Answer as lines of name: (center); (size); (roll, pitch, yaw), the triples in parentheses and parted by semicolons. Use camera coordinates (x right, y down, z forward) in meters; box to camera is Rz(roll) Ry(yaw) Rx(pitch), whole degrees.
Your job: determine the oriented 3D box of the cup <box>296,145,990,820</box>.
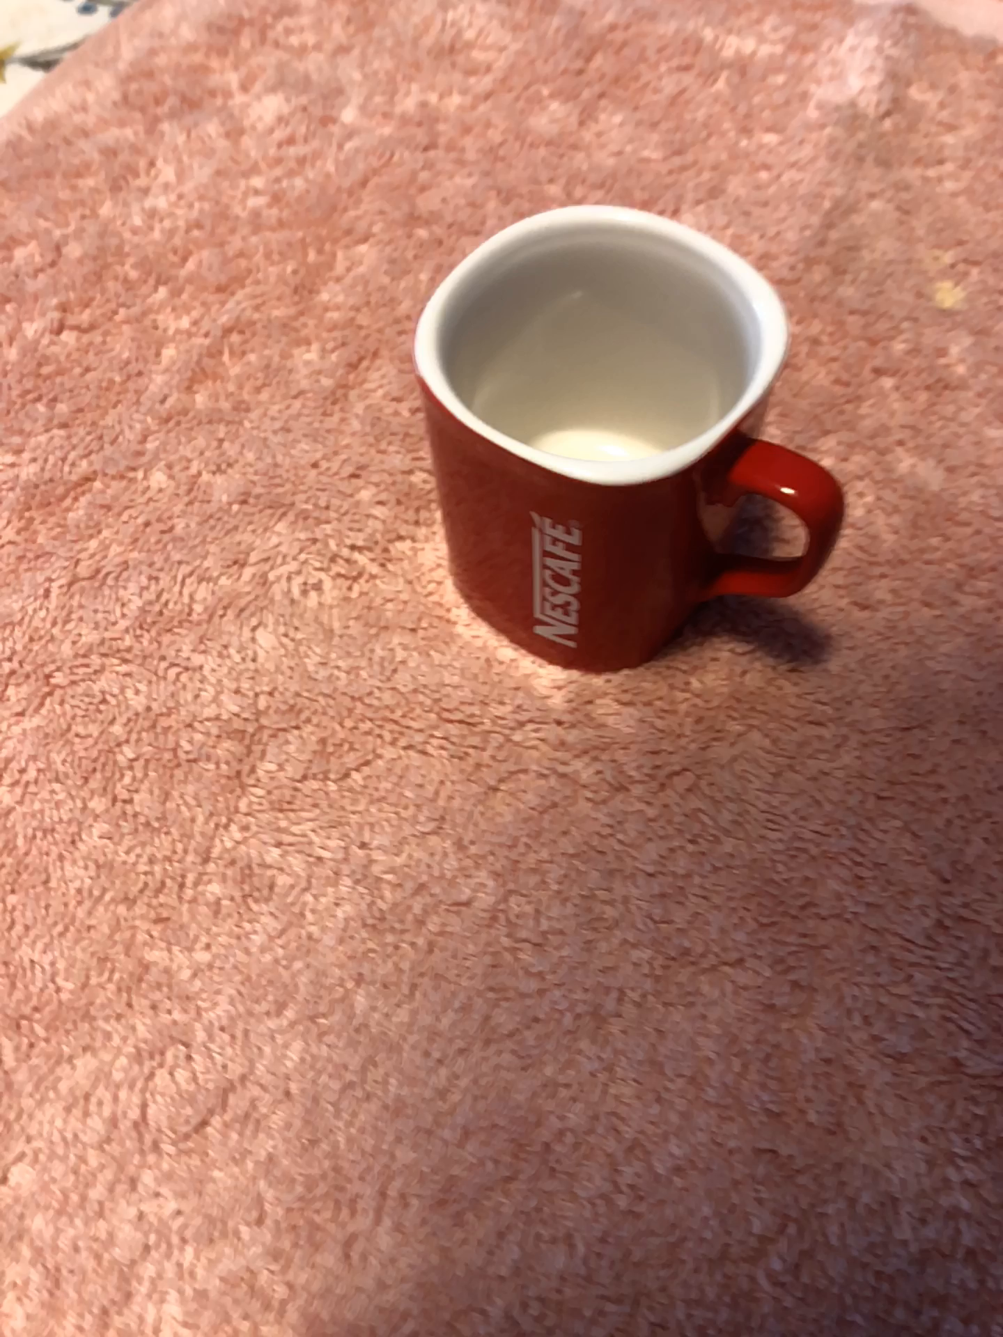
cup: (0.025, -0.038, 0.229); (0.100, 0.070, 0.070); (37, 68, 20)
